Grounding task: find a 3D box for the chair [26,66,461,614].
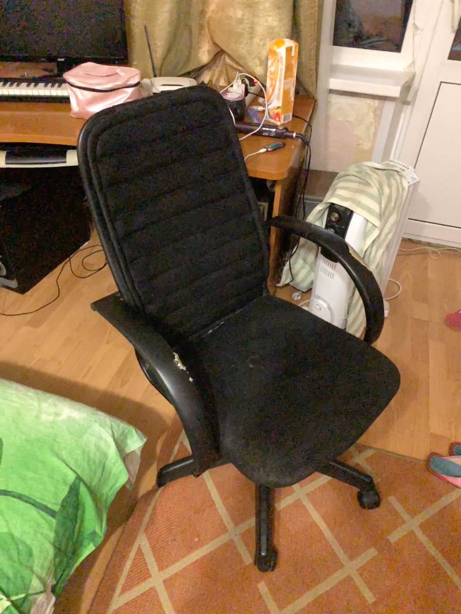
[{"bbox_3d":[0.106,0.083,1.148,0.673,0.991,0.723,-30,51,-32],"label":"chair"}]
